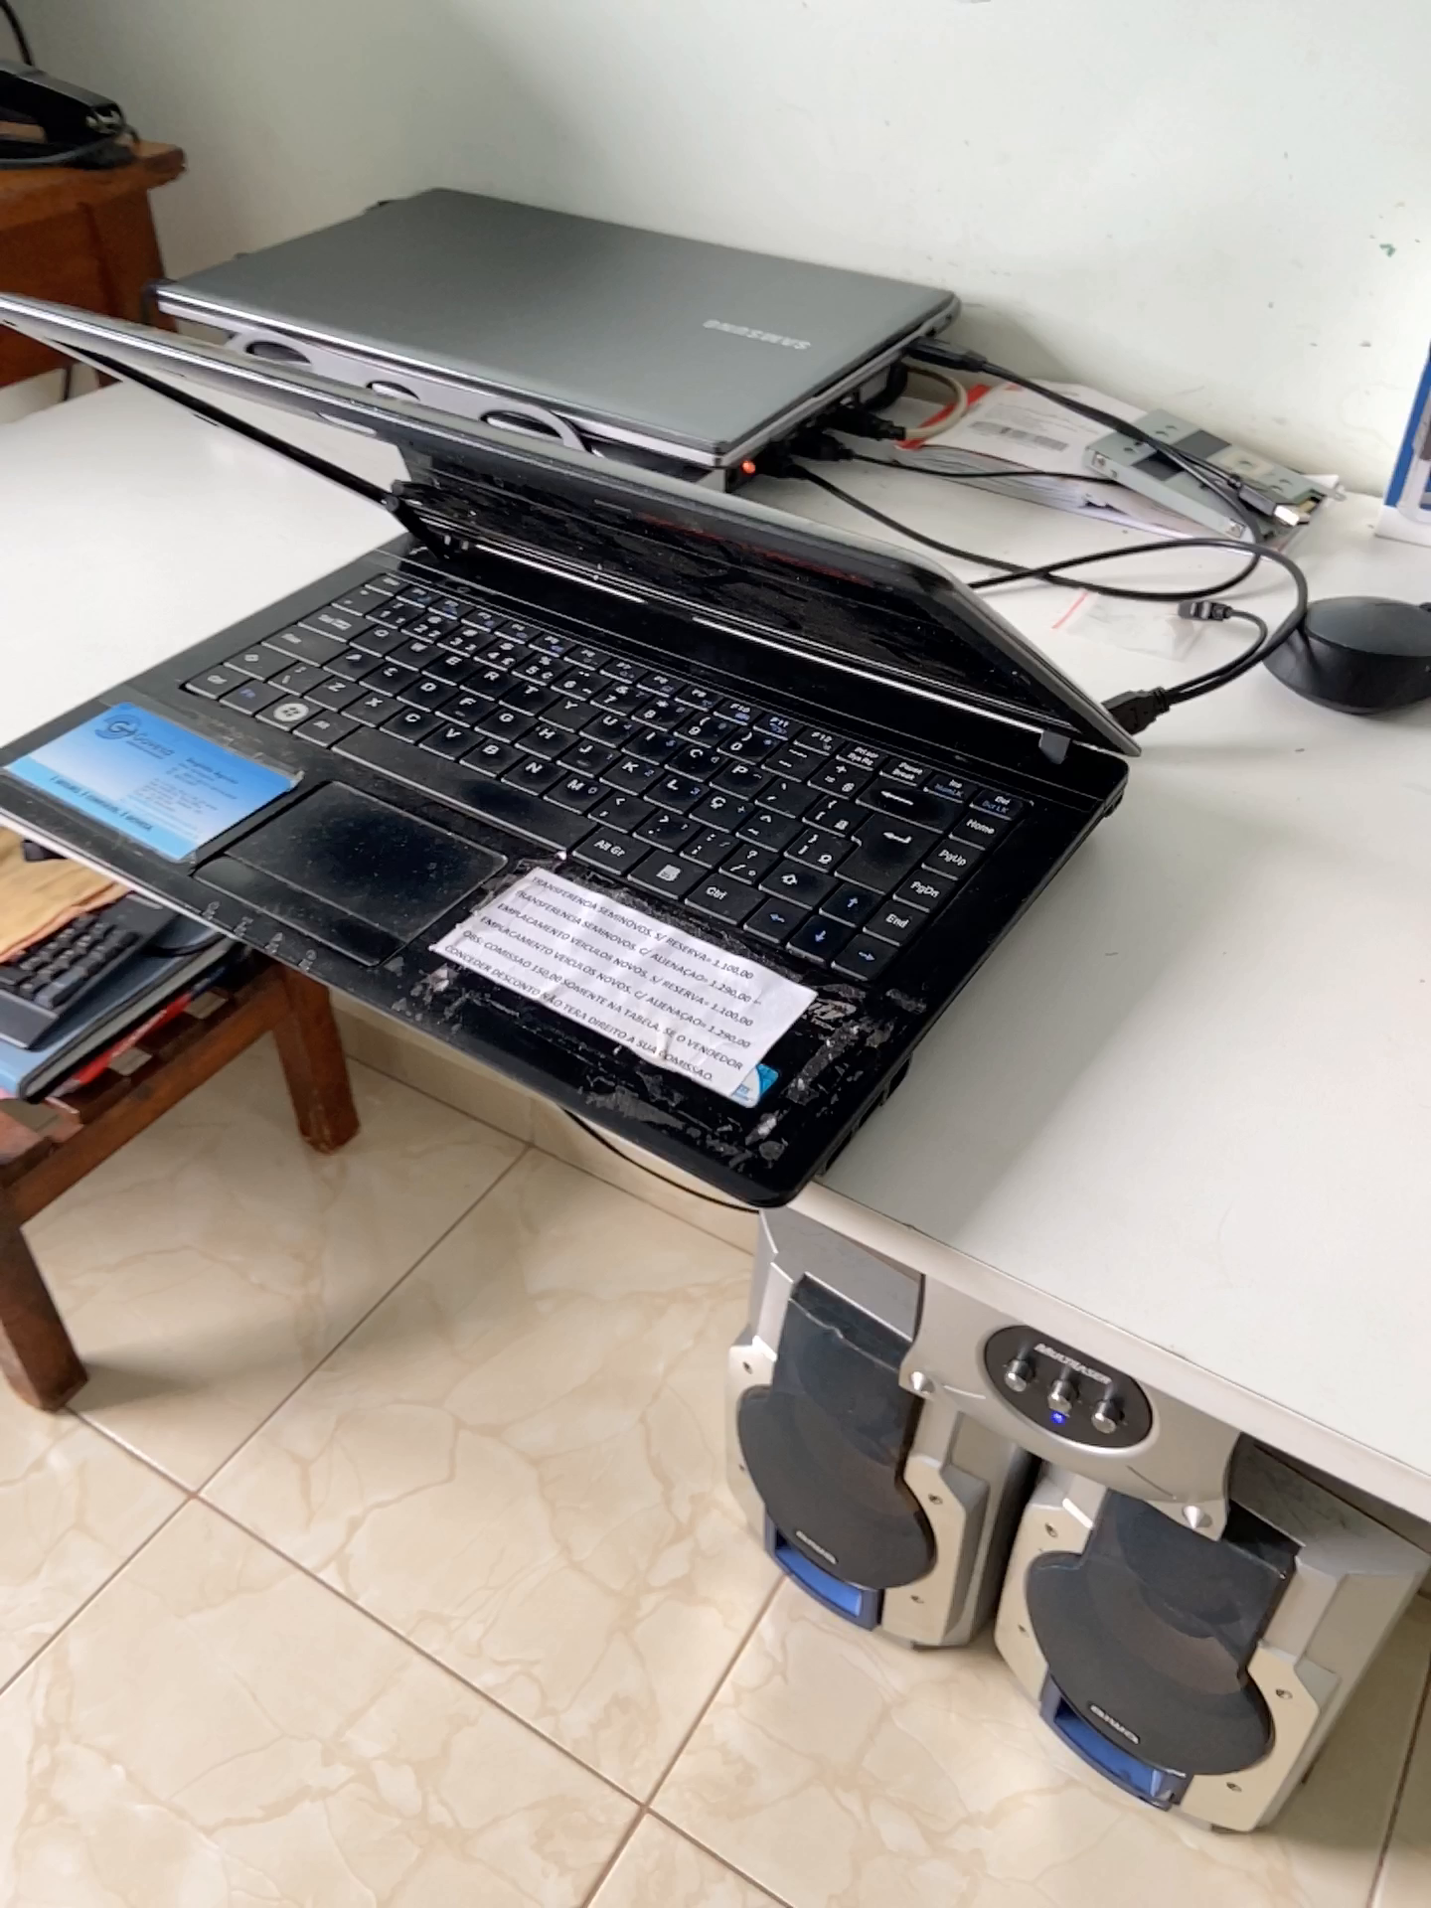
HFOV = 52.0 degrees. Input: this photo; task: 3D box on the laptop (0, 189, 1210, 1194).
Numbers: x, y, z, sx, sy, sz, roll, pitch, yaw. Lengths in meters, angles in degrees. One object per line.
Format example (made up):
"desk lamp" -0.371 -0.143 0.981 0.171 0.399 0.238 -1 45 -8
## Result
"laptop" -0.062 -0.117 0.464 0.335 0.144 0.228 23 45 26
